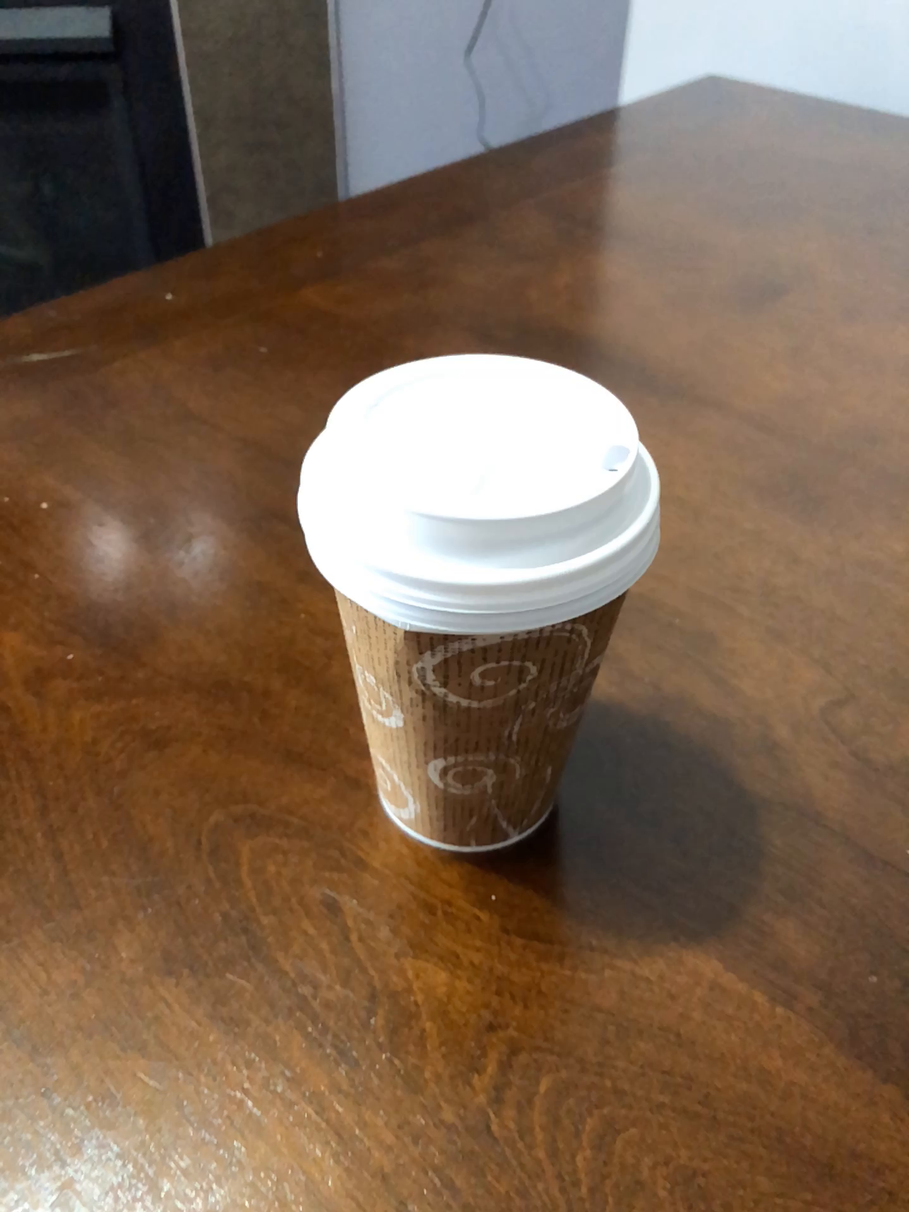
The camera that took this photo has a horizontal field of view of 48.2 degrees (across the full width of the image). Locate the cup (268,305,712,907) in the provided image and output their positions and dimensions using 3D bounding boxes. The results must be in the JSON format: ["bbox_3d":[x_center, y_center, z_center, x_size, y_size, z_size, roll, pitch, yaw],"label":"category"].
[{"bbox_3d":[0.007,0.000,0.223,0.070,0.100,0.080,4,40,2],"label":"cup"}]
